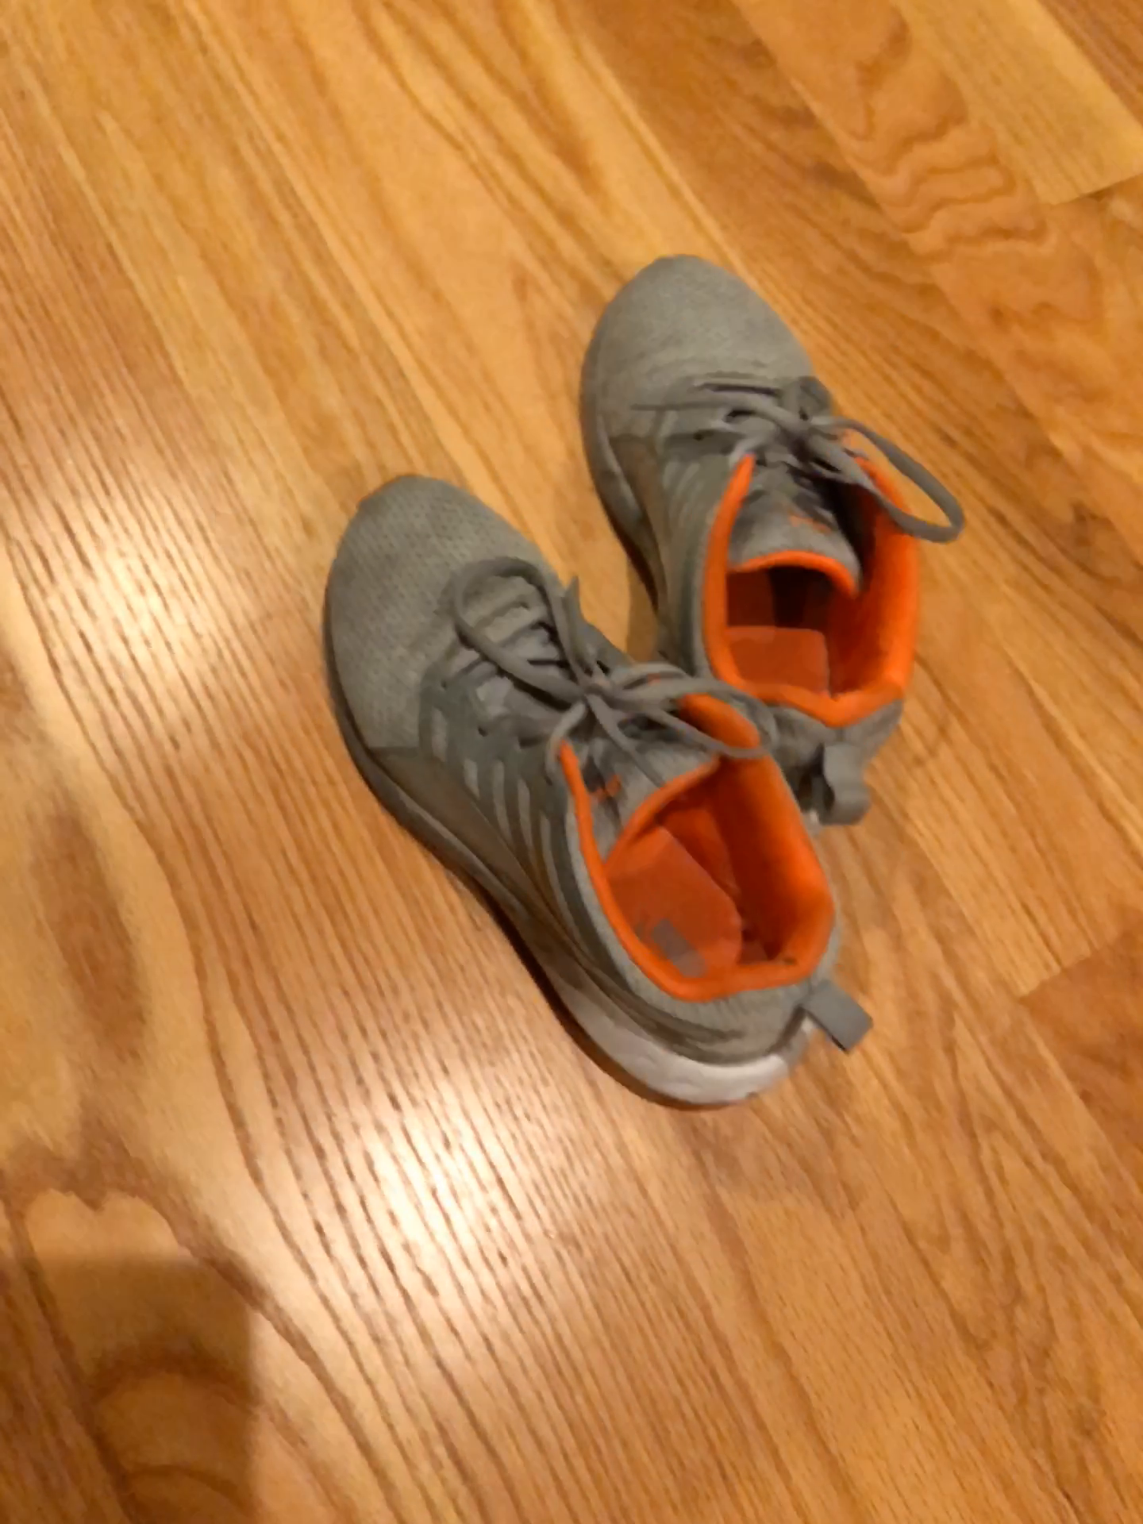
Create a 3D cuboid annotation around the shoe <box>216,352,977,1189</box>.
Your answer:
[{"bbox_3d":[-0.001,0.001,0.425,0.110,0.080,0.250,-32,78,-20],"label":"shoe"}]

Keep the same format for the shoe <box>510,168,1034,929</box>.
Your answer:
[{"bbox_3d":[0.059,-0.080,0.465,0.100,0.100,0.251,-9,71,-14],"label":"shoe"}]
